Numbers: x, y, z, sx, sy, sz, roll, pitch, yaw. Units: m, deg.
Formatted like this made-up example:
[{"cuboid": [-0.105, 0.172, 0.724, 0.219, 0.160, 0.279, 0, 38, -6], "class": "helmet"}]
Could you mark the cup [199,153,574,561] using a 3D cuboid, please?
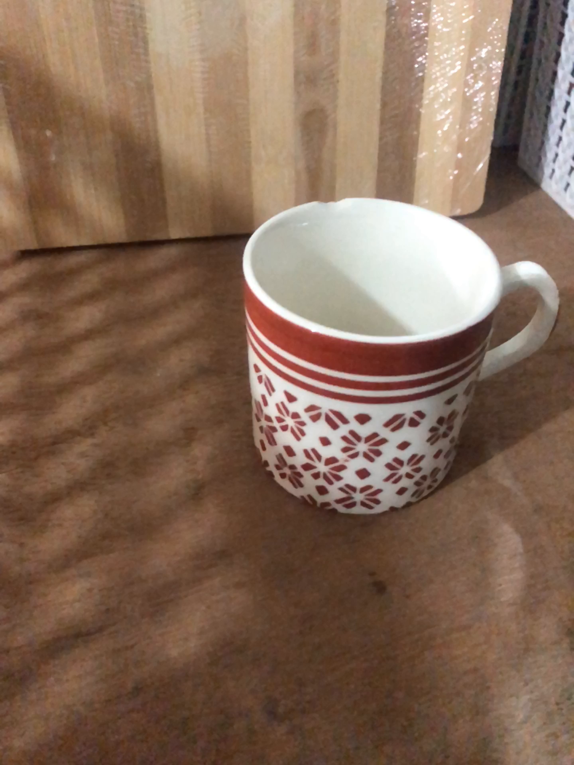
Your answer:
[{"cuboid": [0.031, -0.011, 0.184, 0.090, 0.070, 0.070, -14, 47, -14], "class": "cup"}]
